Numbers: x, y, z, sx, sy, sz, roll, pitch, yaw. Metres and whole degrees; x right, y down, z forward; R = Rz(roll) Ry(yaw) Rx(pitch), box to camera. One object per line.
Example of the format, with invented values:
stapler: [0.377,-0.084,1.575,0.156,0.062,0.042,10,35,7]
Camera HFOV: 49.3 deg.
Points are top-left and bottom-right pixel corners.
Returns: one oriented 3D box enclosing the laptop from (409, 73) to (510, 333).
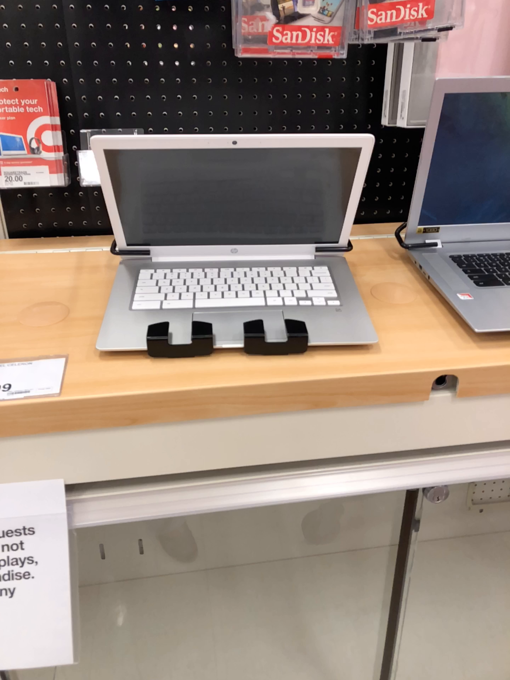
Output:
laptop: [0.402,-0.184,0.697,0.320,0.231,0.231,-4,30,-3]

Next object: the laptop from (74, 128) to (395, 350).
laptop: [-0.026,-0.133,0.675,0.322,0.172,0.201,-2,33,-3]
